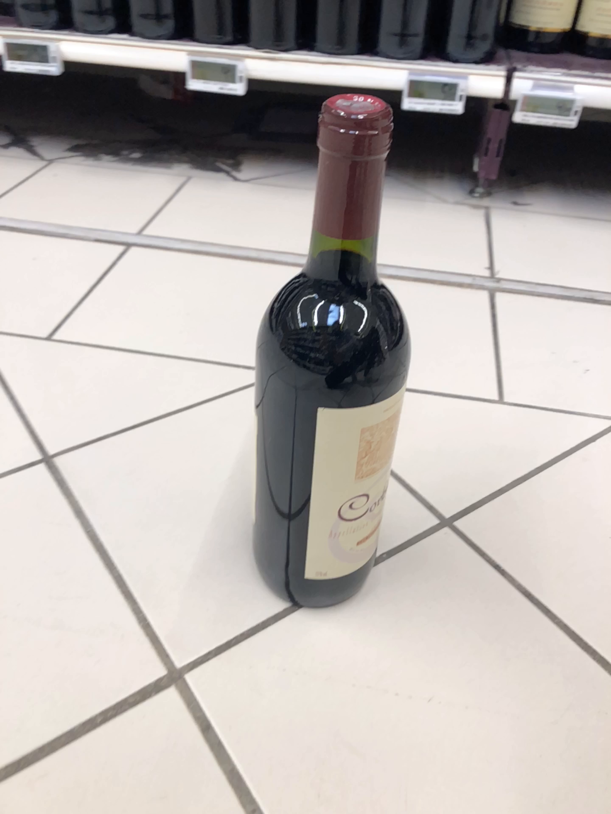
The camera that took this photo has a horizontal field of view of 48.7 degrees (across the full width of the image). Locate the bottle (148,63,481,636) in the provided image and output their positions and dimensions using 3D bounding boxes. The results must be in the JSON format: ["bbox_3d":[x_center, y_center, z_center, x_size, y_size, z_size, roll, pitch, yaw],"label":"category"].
[{"bbox_3d":[0.001,-0.017,0.328,0.090,0.248,0.091,2,38,-2],"label":"bottle"}]
